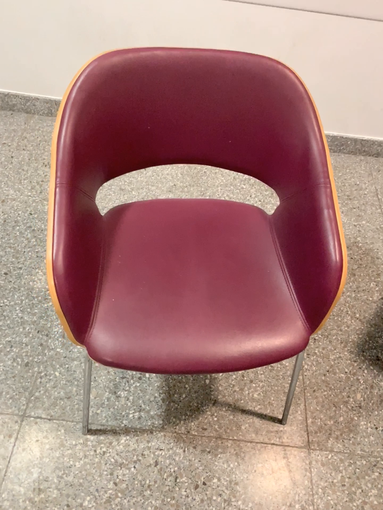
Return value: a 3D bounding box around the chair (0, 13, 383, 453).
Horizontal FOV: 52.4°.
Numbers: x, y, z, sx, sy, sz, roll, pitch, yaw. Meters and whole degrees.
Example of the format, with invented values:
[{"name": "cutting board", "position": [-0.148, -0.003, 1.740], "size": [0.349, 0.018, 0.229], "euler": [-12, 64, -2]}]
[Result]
[{"name": "chair", "position": [0.001, 0.015, 0.875], "size": [0.570, 0.735, 0.635], "euler": [0, 54, -6]}]
